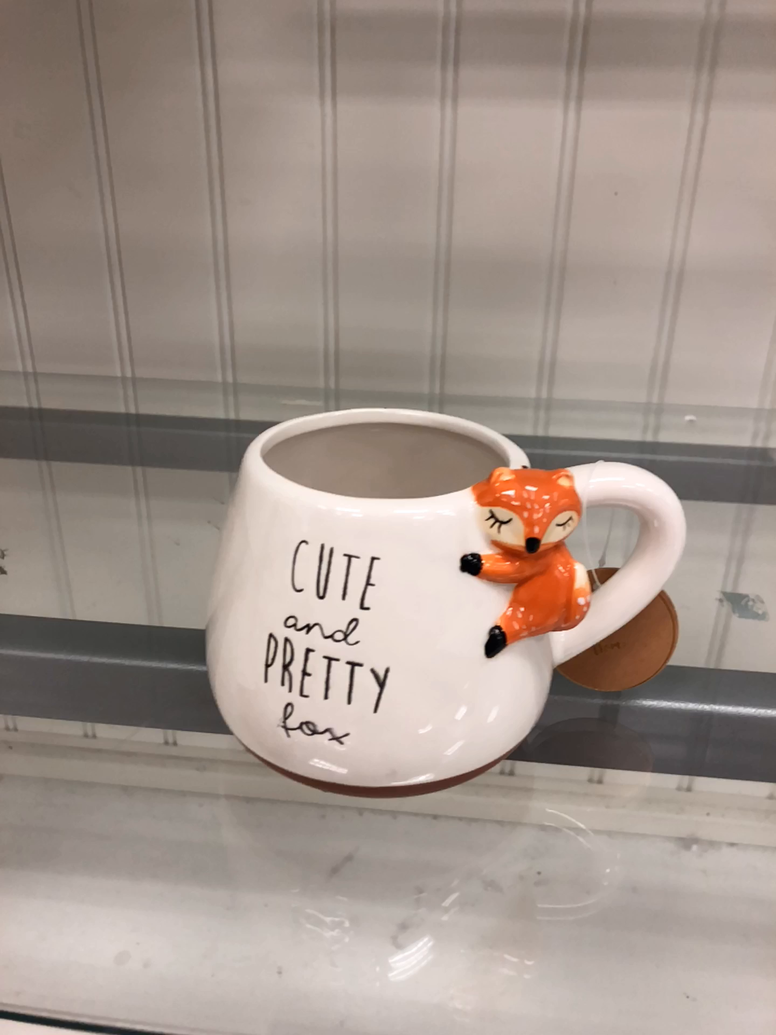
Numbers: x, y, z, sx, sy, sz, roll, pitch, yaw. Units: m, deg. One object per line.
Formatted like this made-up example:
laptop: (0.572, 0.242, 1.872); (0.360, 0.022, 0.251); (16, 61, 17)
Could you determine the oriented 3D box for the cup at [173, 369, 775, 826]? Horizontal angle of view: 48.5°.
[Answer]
cup: (0.018, 0.015, 0.257); (0.143, 0.089, 0.101); (-2, 25, -7)
